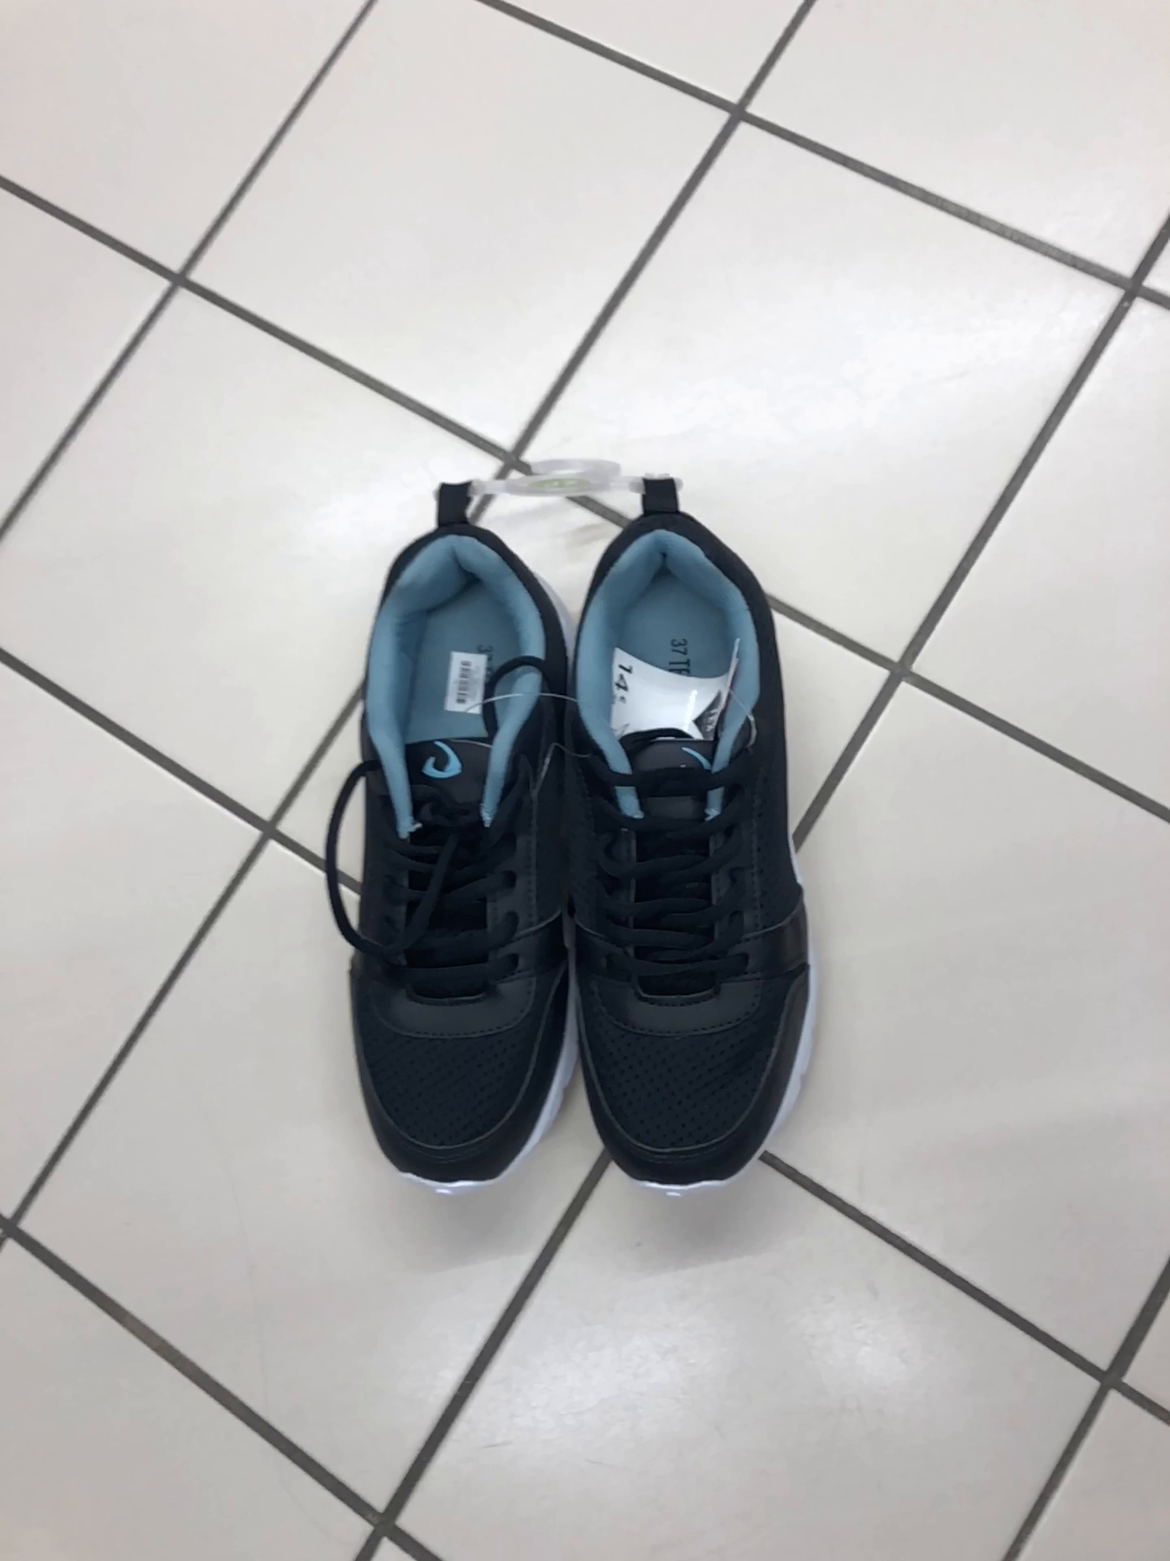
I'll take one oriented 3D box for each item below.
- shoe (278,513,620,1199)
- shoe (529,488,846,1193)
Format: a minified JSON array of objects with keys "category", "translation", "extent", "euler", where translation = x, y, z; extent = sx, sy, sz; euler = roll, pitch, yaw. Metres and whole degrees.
[{"category":"shoe","translation":[-0.048,0.032,0.506],"extent":[0.100,0.100,0.240],"euler":[-4,78,12]},{"category":"shoe","translation":[0.040,0.027,0.496],"extent":[0.100,0.110,0.240],"euler":[-3,78,8]}]
